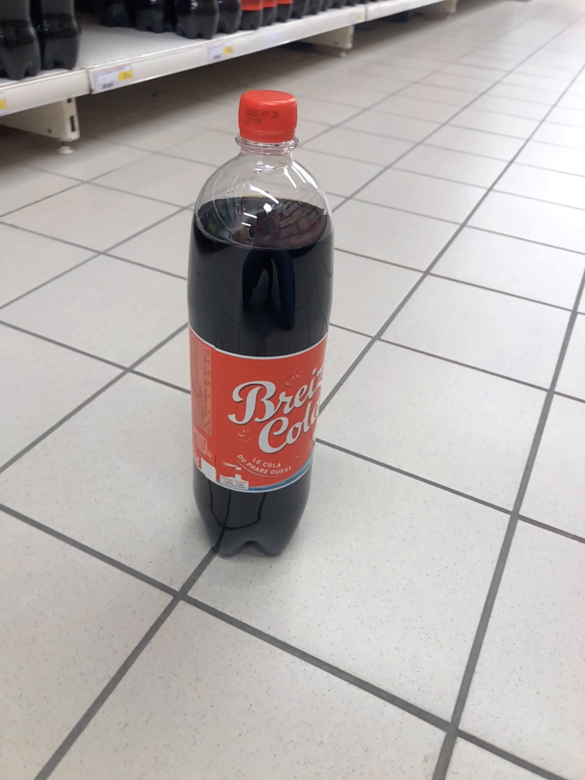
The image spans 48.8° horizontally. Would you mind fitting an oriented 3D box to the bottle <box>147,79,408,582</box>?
[{"bbox_3d":[-0.020,-0.027,0.432,0.100,0.308,0.100,3,36,-2],"label":"bottle"}]
